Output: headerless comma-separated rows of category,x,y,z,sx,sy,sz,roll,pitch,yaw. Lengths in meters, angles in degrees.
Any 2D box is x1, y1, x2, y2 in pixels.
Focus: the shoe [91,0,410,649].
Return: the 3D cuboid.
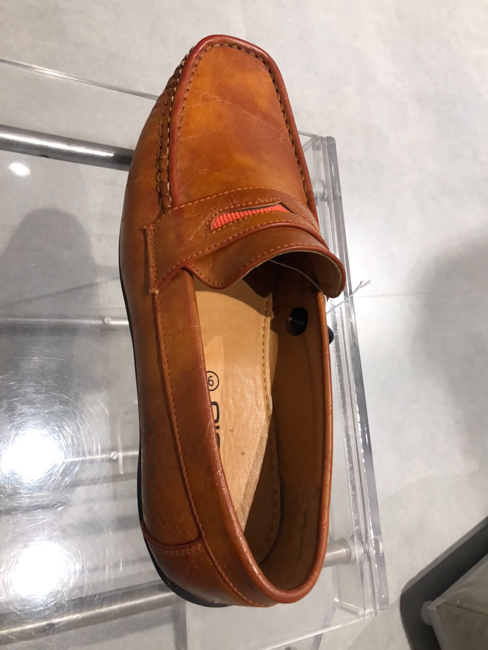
shoe,-0.007,-0.026,0.268,0.110,0.090,0.290,4,76,-28
